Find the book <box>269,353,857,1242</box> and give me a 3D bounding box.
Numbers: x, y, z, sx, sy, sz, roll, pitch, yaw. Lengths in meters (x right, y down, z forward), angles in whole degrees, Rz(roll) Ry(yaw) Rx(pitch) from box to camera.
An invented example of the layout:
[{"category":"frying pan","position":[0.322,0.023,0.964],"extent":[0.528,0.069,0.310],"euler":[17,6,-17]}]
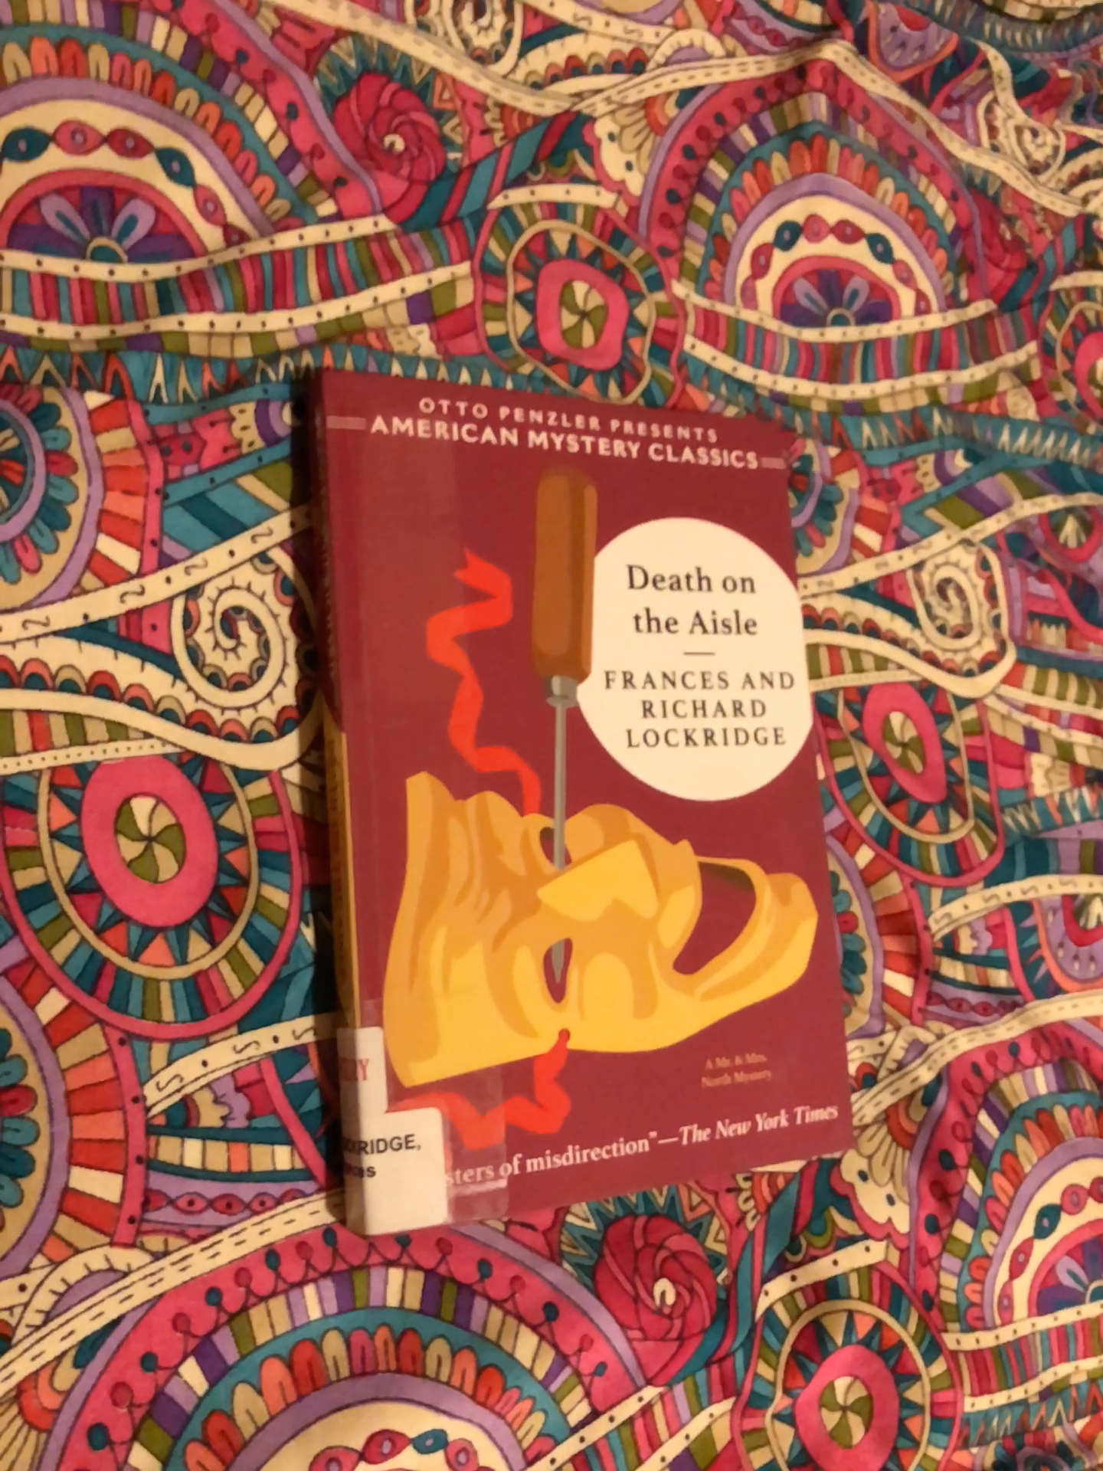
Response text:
[{"category":"book","position":[0.004,0.010,0.310],"extent":[0.138,0.024,0.196],"euler":[-1,82,-26]}]
